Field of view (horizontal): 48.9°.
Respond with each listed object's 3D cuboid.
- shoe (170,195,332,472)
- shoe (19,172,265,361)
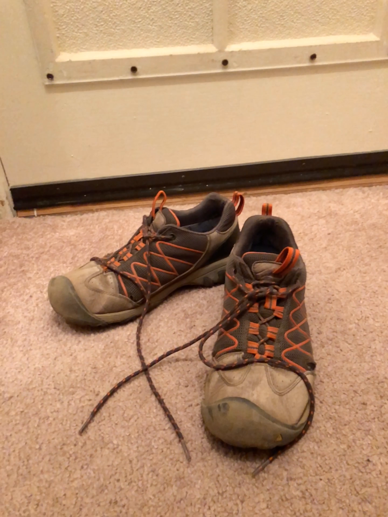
[{"bbox_3d":[0.071,0.054,0.461,0.120,0.129,0.272,5,35,11],"label":"shoe"},{"bbox_3d":[-0.060,-0.005,0.597,0.301,0.129,0.120,-21,38,-25],"label":"shoe"}]
